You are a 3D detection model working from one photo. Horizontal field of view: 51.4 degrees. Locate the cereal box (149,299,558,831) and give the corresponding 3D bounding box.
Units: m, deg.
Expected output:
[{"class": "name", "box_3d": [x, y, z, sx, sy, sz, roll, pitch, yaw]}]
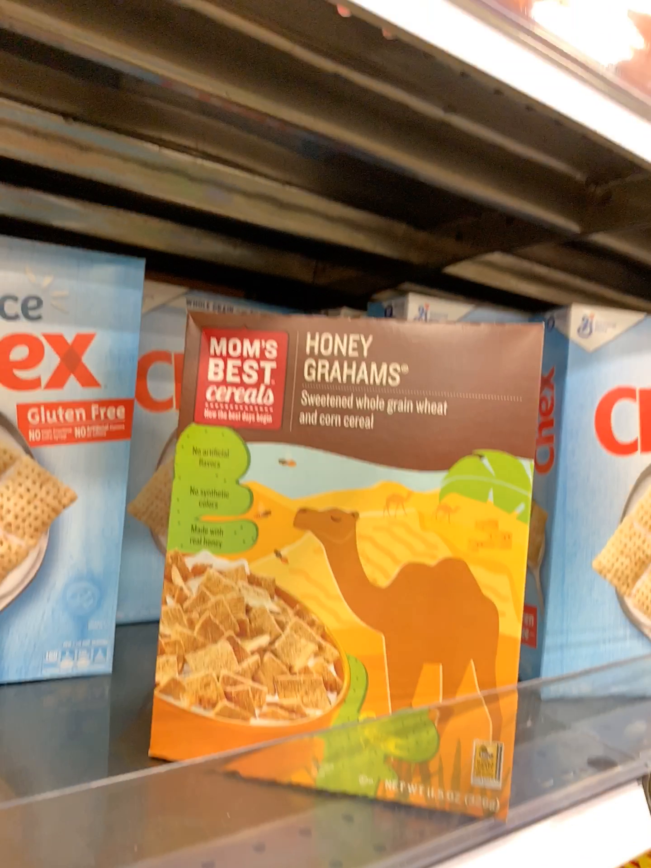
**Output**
[{"class": "cereal box", "box_3d": [0.015, 0.061, 0.384, 0.200, 0.260, 0.050, 4, -1, 11]}]
